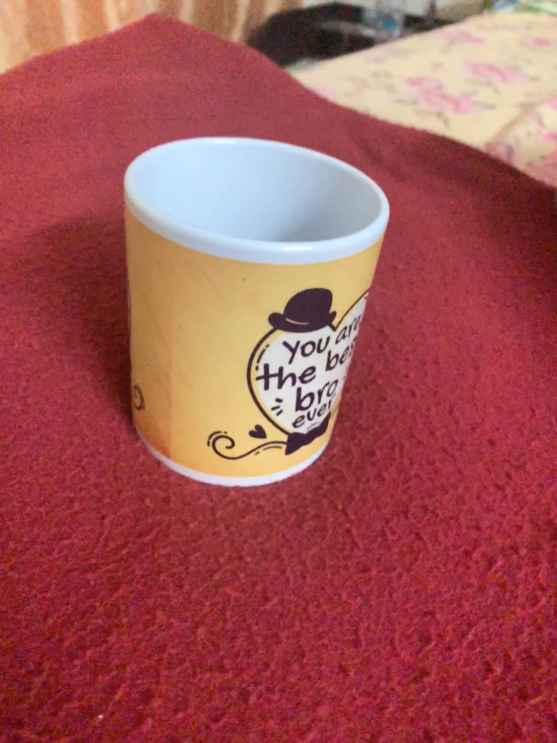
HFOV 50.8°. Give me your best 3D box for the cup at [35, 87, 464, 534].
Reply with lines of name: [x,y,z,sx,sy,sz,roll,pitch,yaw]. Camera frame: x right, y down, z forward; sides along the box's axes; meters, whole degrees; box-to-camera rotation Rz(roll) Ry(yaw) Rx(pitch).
cup: [-0.008,-0.031,0.216,0.080,0.109,0.110,31,44,30]

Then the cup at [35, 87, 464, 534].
cup: [-0.008,-0.031,0.216,0.080,0.109,0.110,31,44,30]
